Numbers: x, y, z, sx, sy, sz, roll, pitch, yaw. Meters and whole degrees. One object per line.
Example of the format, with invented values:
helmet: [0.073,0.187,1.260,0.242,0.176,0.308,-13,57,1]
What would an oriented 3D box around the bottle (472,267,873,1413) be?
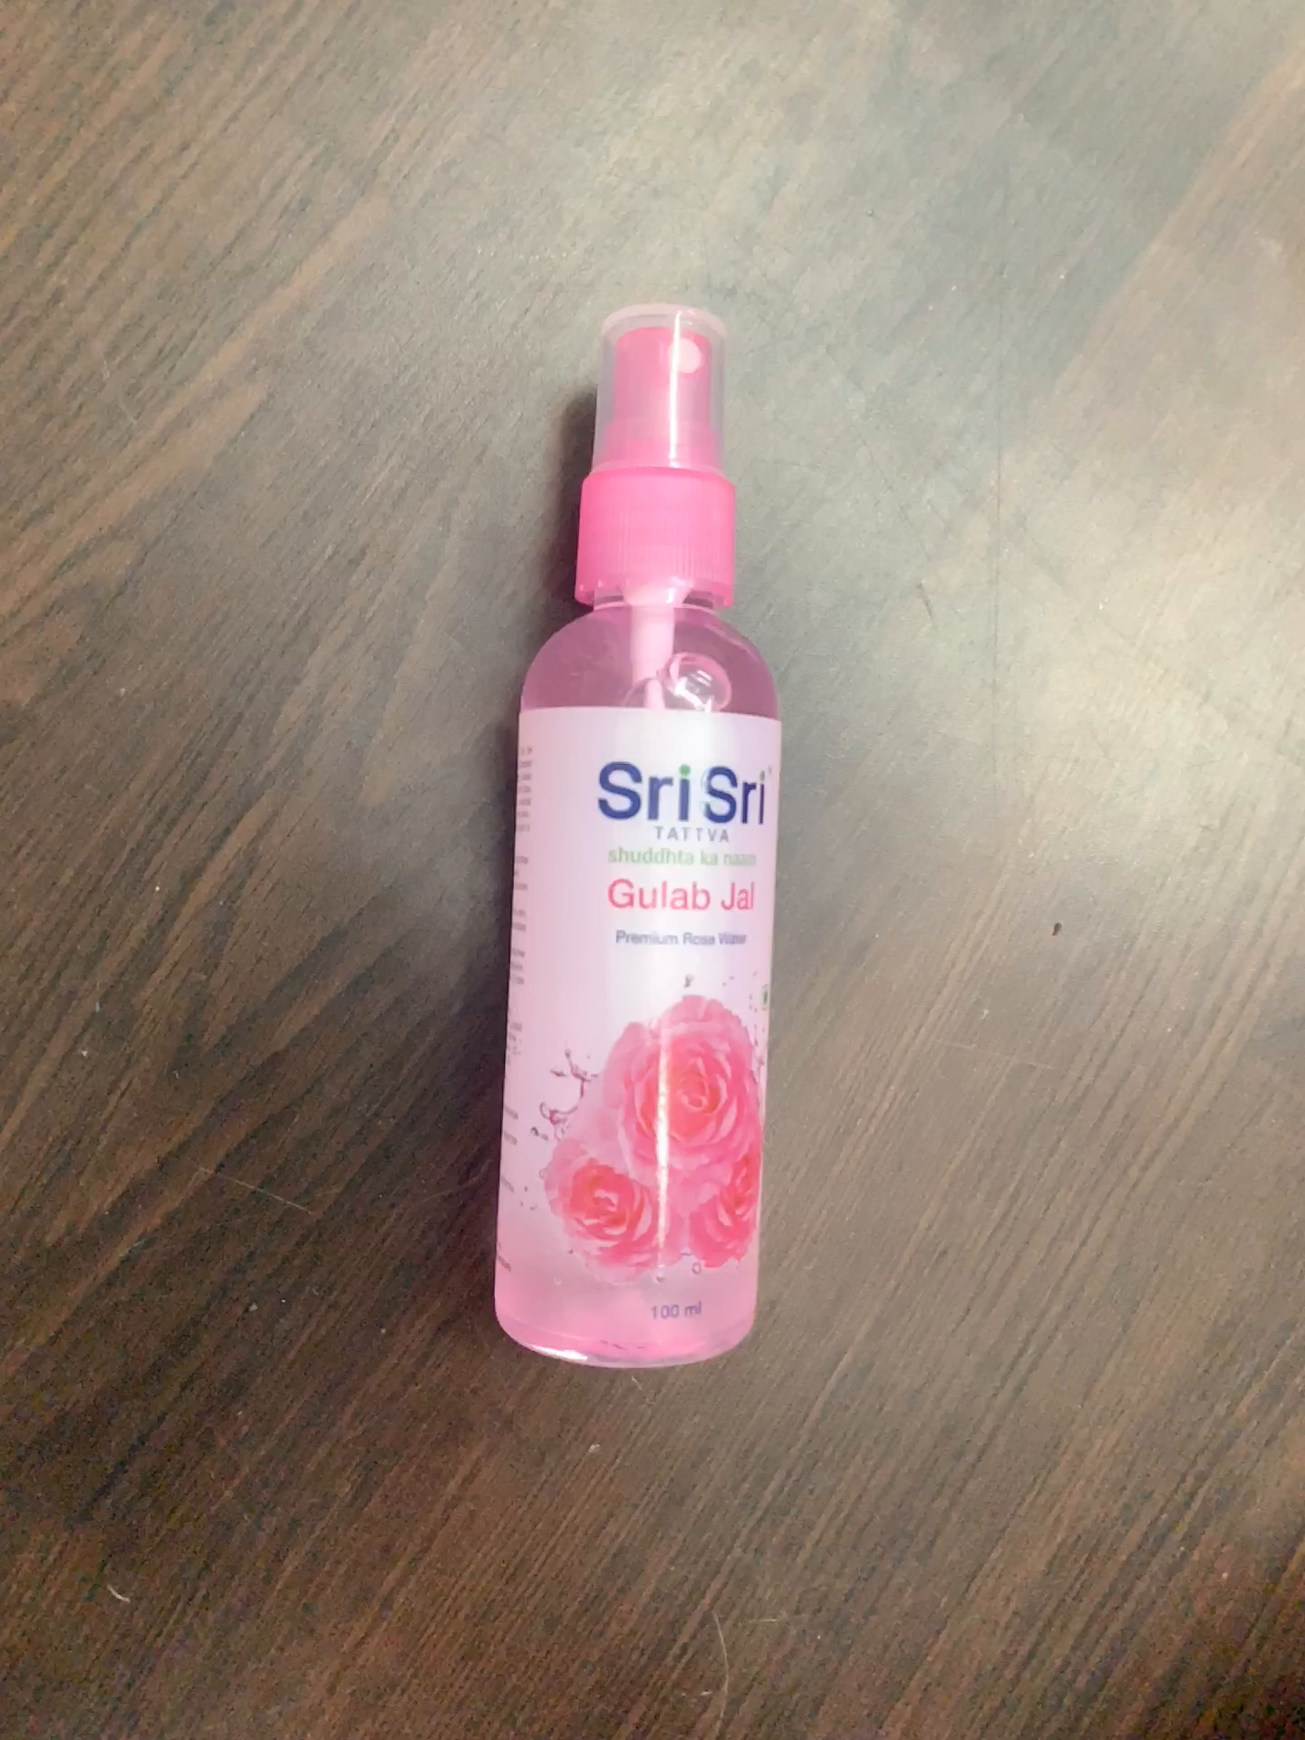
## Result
bottle: [0.000,-0.002,0.188,0.040,0.040,0.140,3,92,-12]
